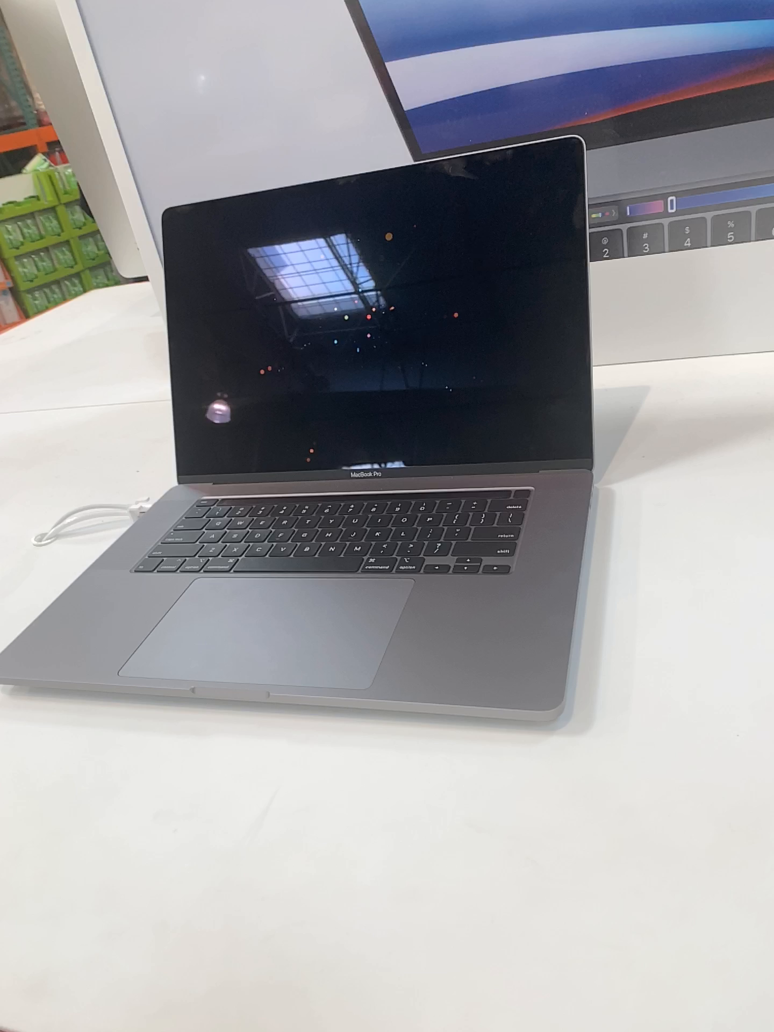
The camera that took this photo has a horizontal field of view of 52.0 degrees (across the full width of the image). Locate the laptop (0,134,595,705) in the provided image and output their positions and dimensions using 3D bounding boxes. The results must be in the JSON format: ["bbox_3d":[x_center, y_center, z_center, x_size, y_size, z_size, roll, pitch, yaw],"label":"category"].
[{"bbox_3d":[-0.060,-0.085,0.515,0.341,0.203,0.346,-2,30,20],"label":"laptop"}]
